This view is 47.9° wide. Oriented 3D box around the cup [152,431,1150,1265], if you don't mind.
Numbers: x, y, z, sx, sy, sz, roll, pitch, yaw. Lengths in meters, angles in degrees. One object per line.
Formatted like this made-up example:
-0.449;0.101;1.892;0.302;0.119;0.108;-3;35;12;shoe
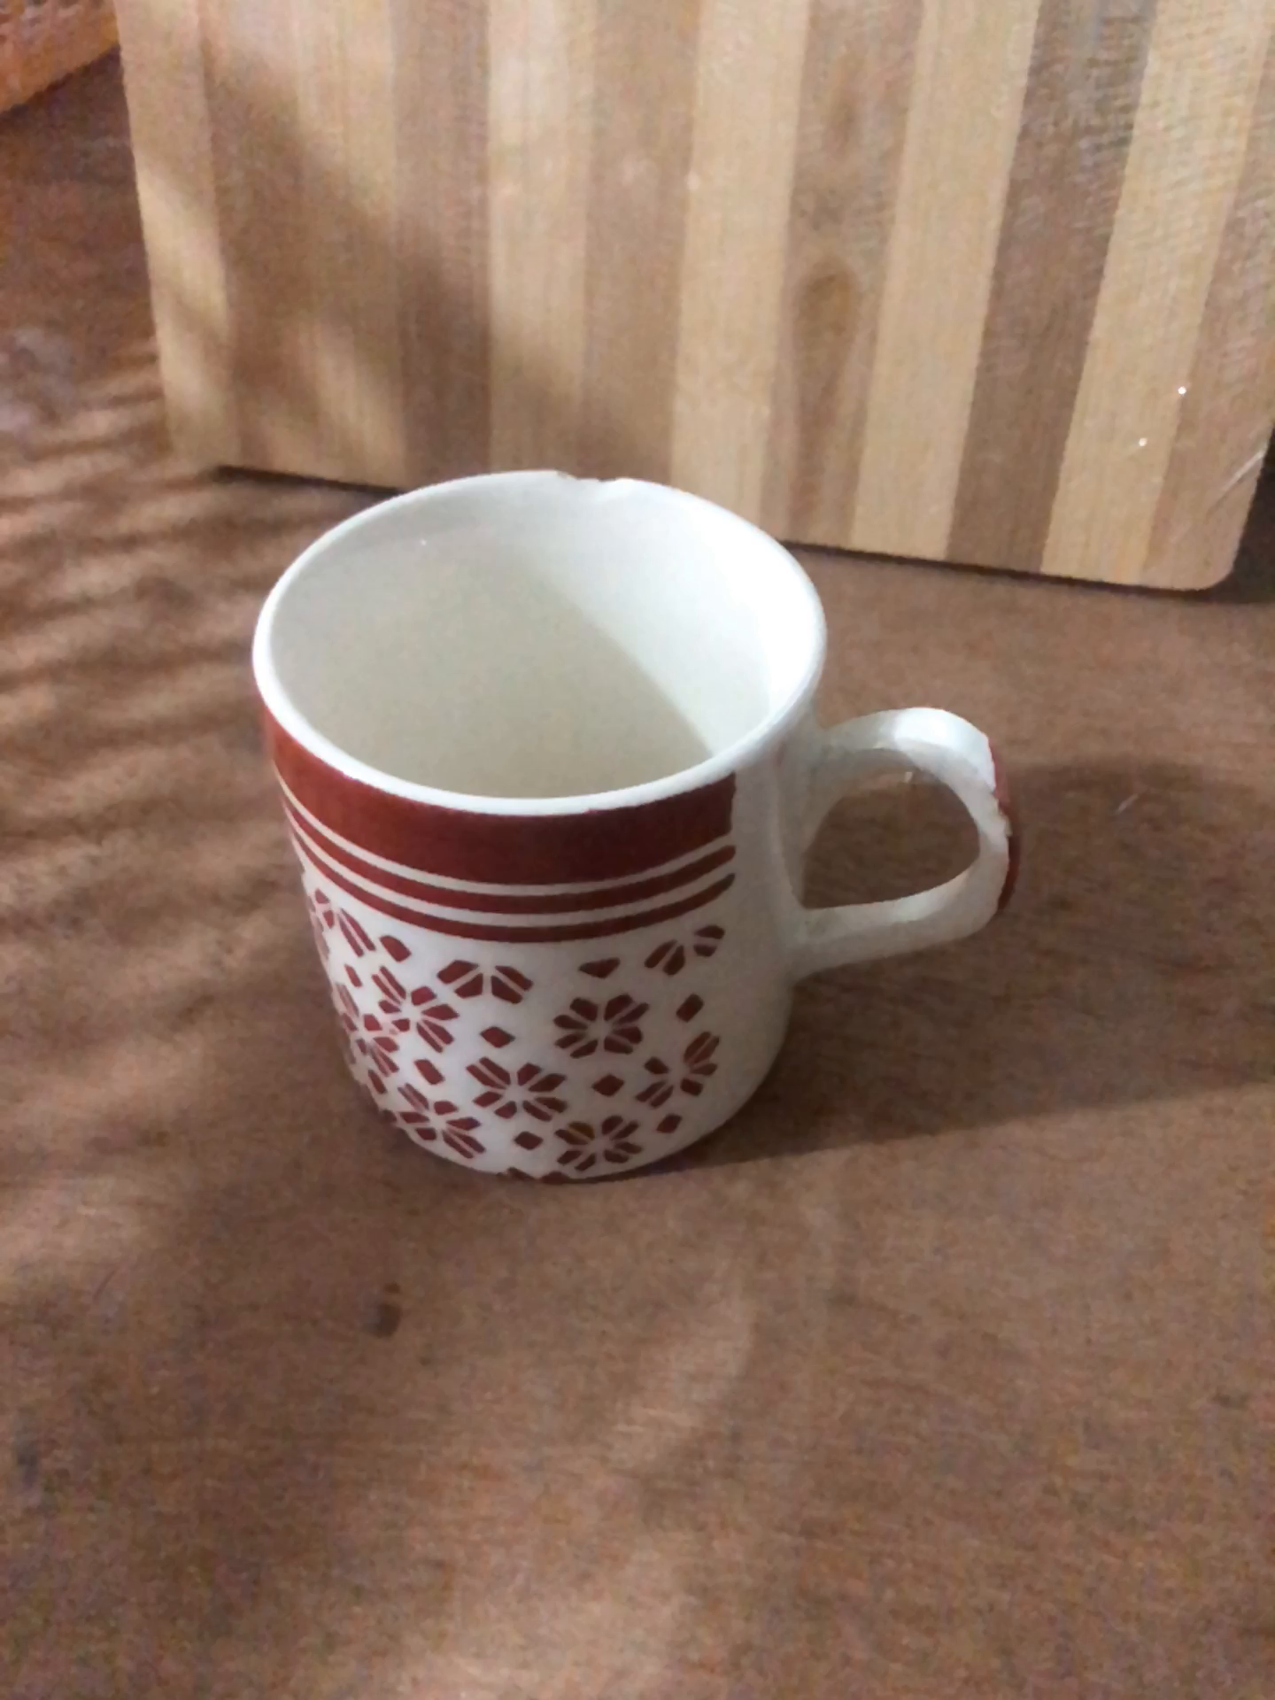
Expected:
0.004;0.001;0.178;0.090;0.080;0.060;3;45;5;cup
